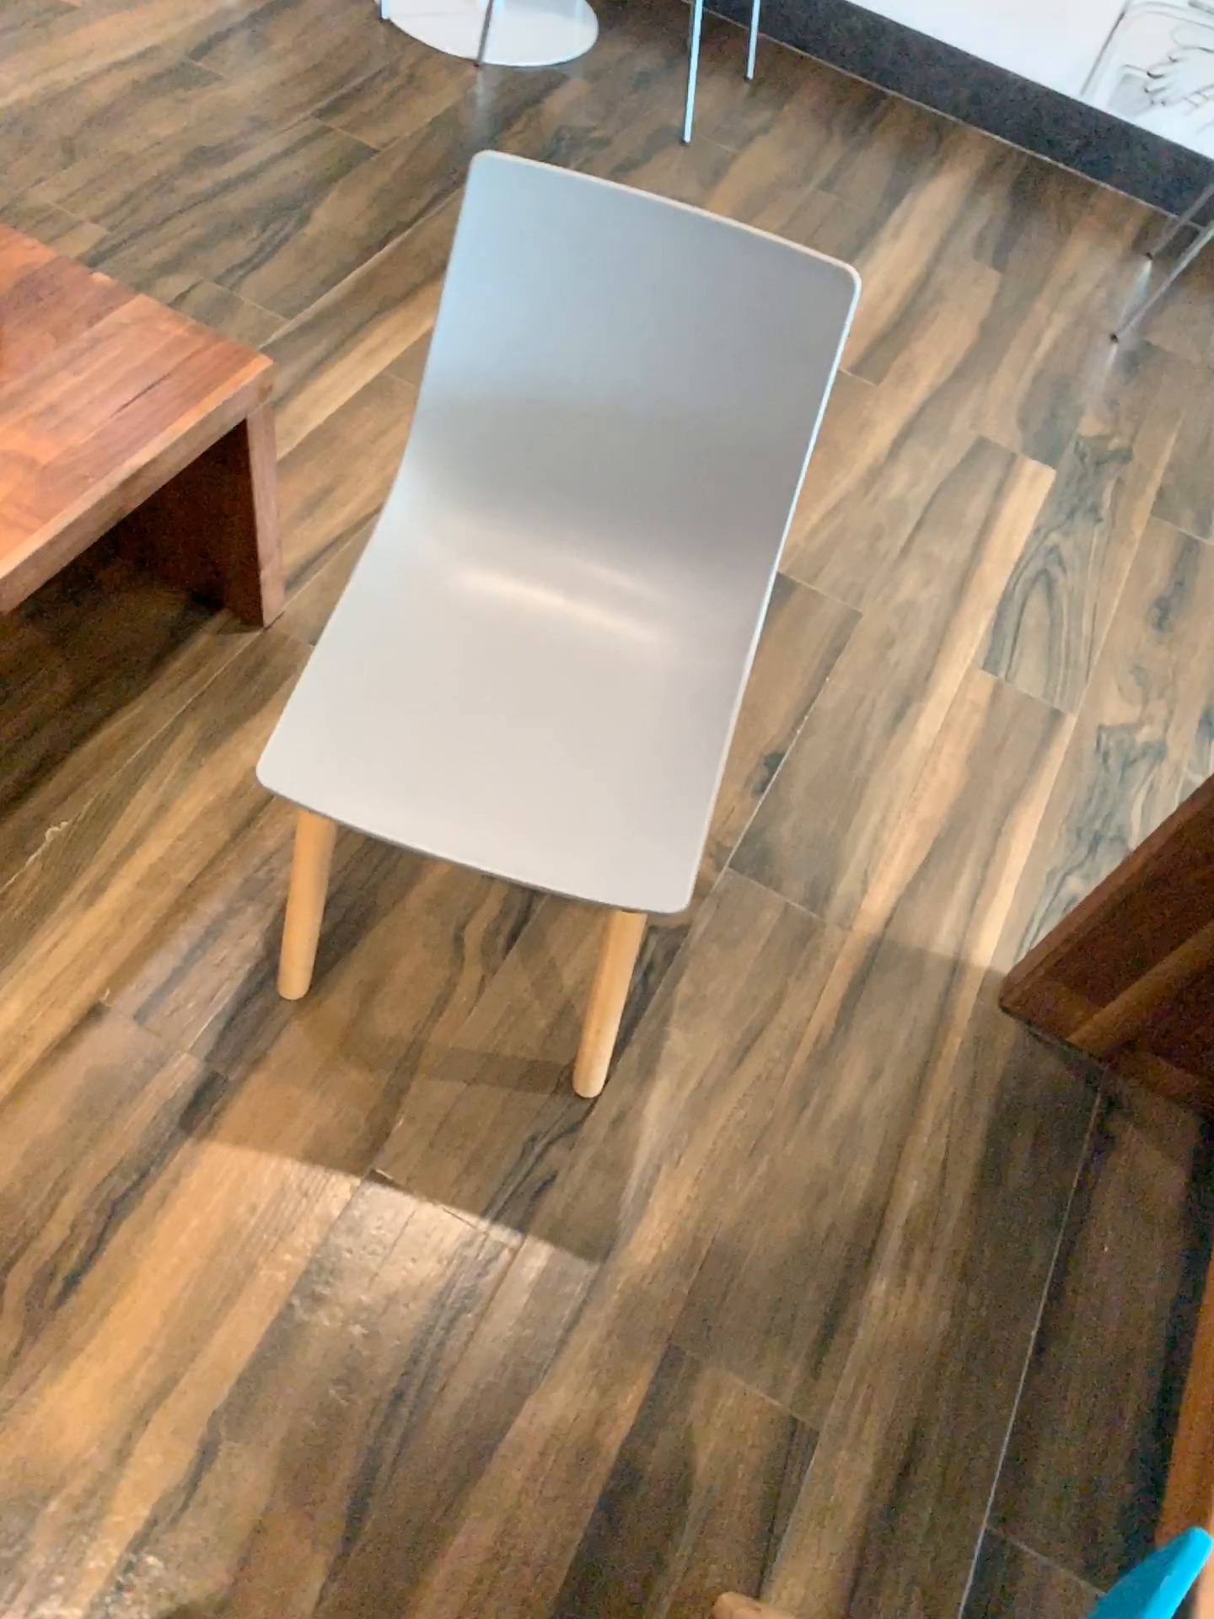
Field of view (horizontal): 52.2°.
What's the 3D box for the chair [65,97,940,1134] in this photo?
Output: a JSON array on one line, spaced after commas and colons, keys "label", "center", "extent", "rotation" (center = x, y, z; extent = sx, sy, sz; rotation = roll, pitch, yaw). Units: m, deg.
[{"label": "chair", "center": [-0.086, -0.143, 1.216], "extent": [0.500, 0.695, 0.564], "rotation": [20, 54, 1]}]
